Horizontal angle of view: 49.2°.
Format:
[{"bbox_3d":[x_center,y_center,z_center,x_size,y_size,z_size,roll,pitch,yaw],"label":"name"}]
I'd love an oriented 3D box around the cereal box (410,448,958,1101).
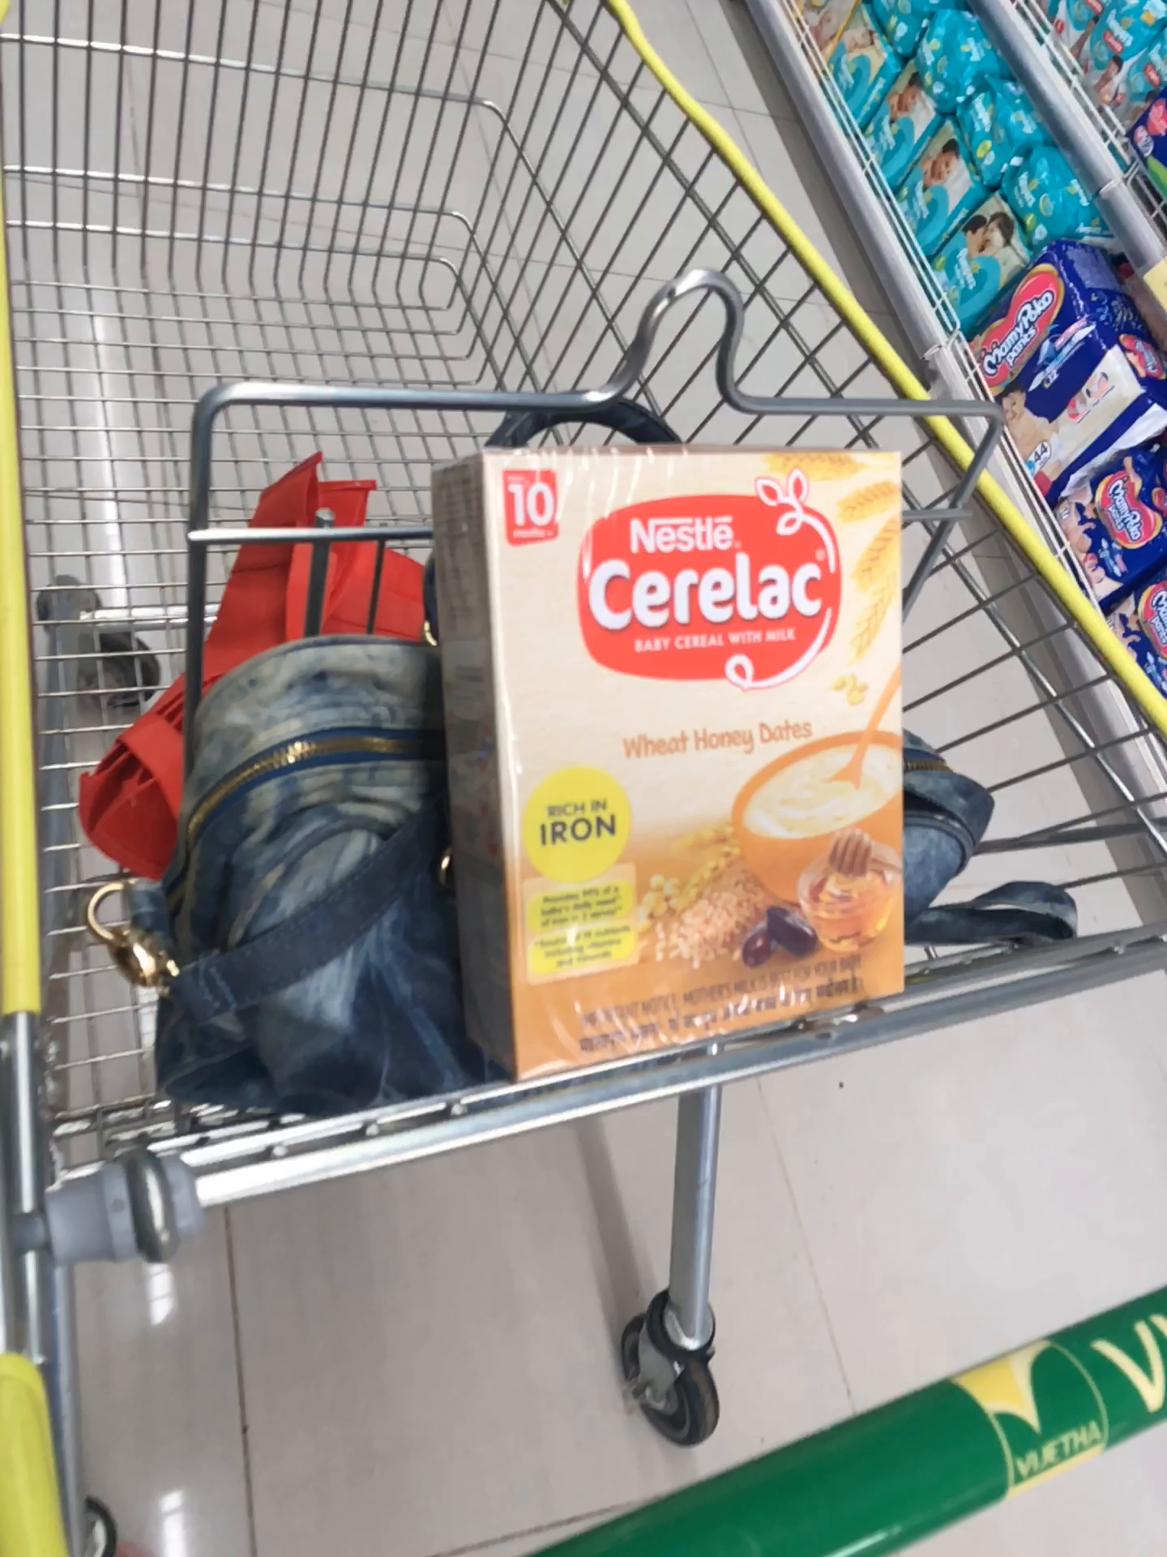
[{"bbox_3d":[0.039,-0.011,0.432,0.170,0.060,0.190,-8,99,-27],"label":"cereal box"}]
